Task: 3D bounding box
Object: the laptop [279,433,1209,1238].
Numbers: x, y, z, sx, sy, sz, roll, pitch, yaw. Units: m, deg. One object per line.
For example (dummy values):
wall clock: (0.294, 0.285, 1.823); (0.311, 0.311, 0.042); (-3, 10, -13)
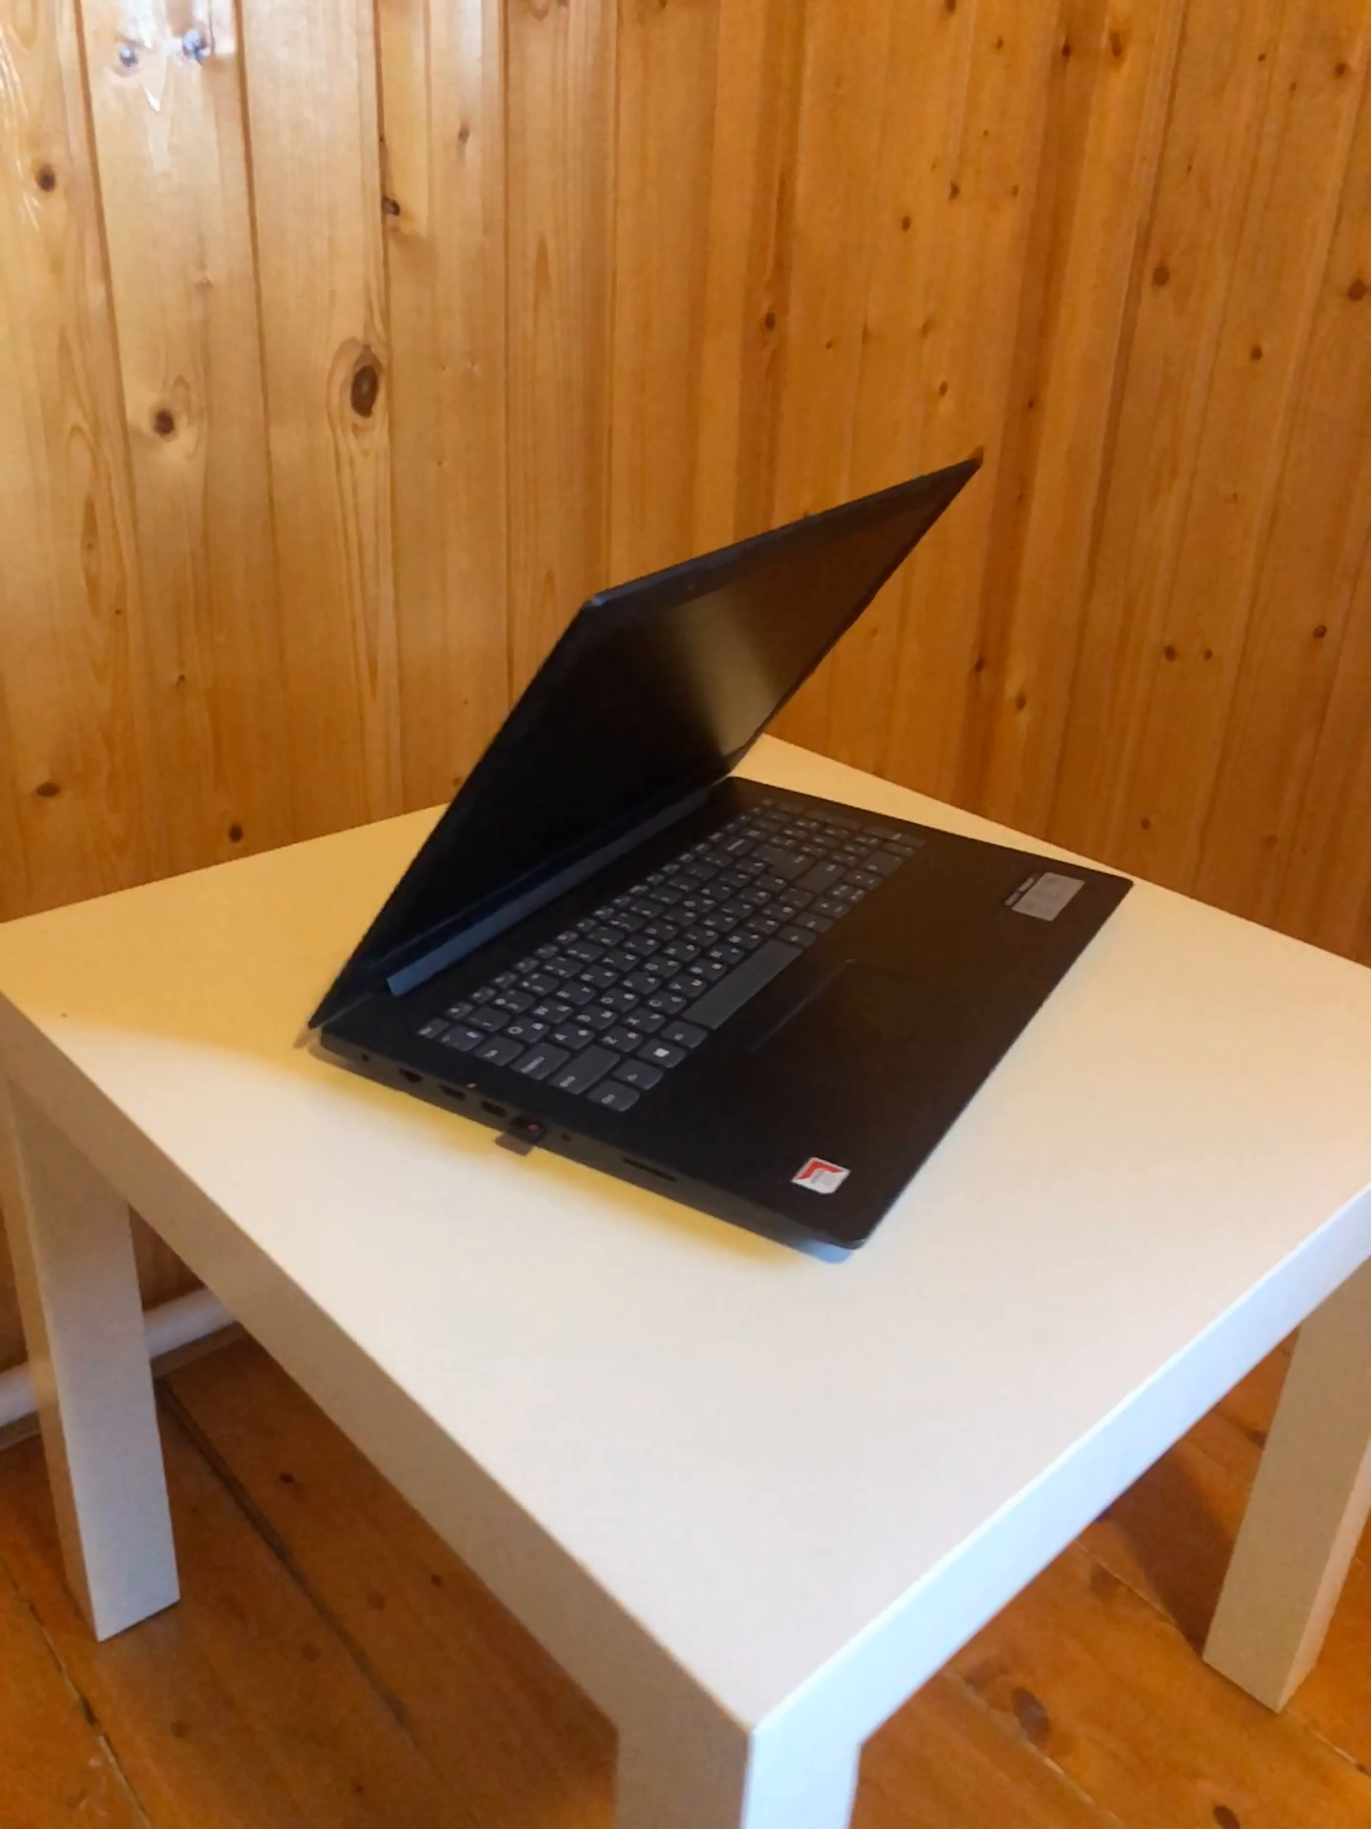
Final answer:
laptop: (0.049, -0.078, 0.686); (0.250, 0.206, 0.374); (16, 29, 26)
